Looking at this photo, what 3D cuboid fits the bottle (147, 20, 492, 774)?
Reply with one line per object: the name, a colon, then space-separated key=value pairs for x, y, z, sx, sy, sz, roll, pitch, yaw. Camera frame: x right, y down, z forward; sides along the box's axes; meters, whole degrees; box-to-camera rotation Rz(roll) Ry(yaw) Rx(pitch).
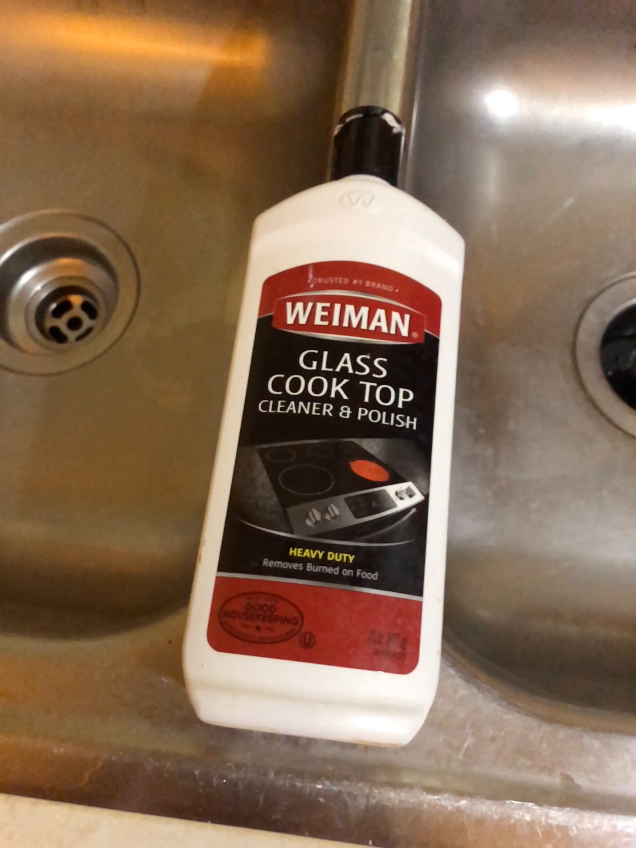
bottle: x=0.009 y=-0.021 z=0.242 sx=0.080 sy=0.050 sz=0.240 roll=6 pitch=72 yaw=3
